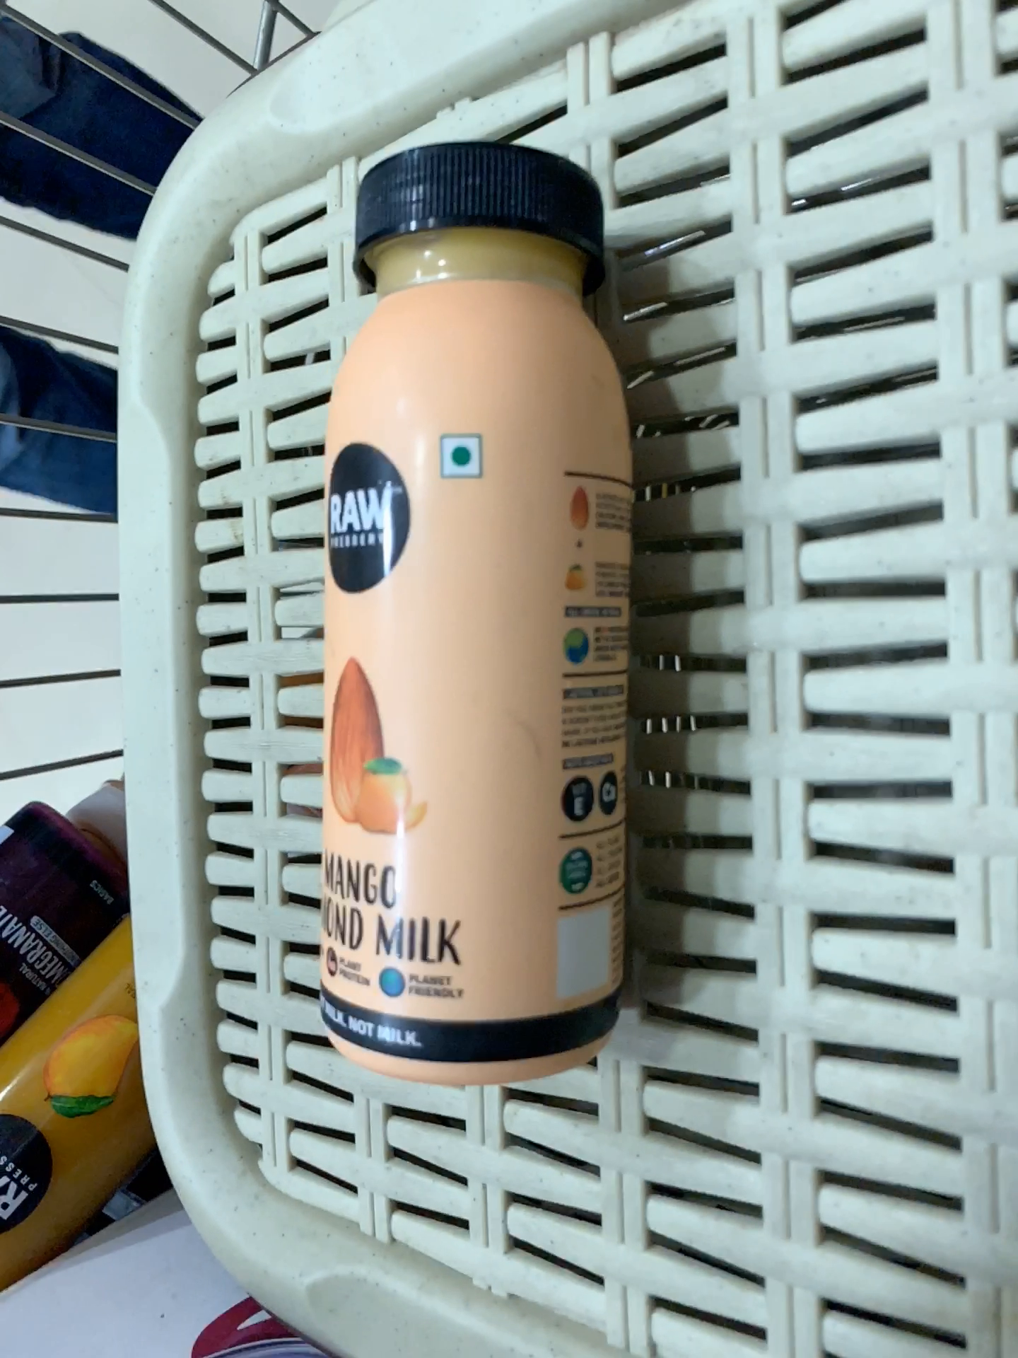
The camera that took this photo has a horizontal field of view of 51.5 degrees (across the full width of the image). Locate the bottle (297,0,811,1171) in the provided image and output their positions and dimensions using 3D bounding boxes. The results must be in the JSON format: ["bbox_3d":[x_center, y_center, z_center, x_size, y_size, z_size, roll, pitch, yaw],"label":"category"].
[{"bbox_3d":[0.006,-0.016,0.160,0.060,0.040,0.150,4,93,35],"label":"bottle"}]
